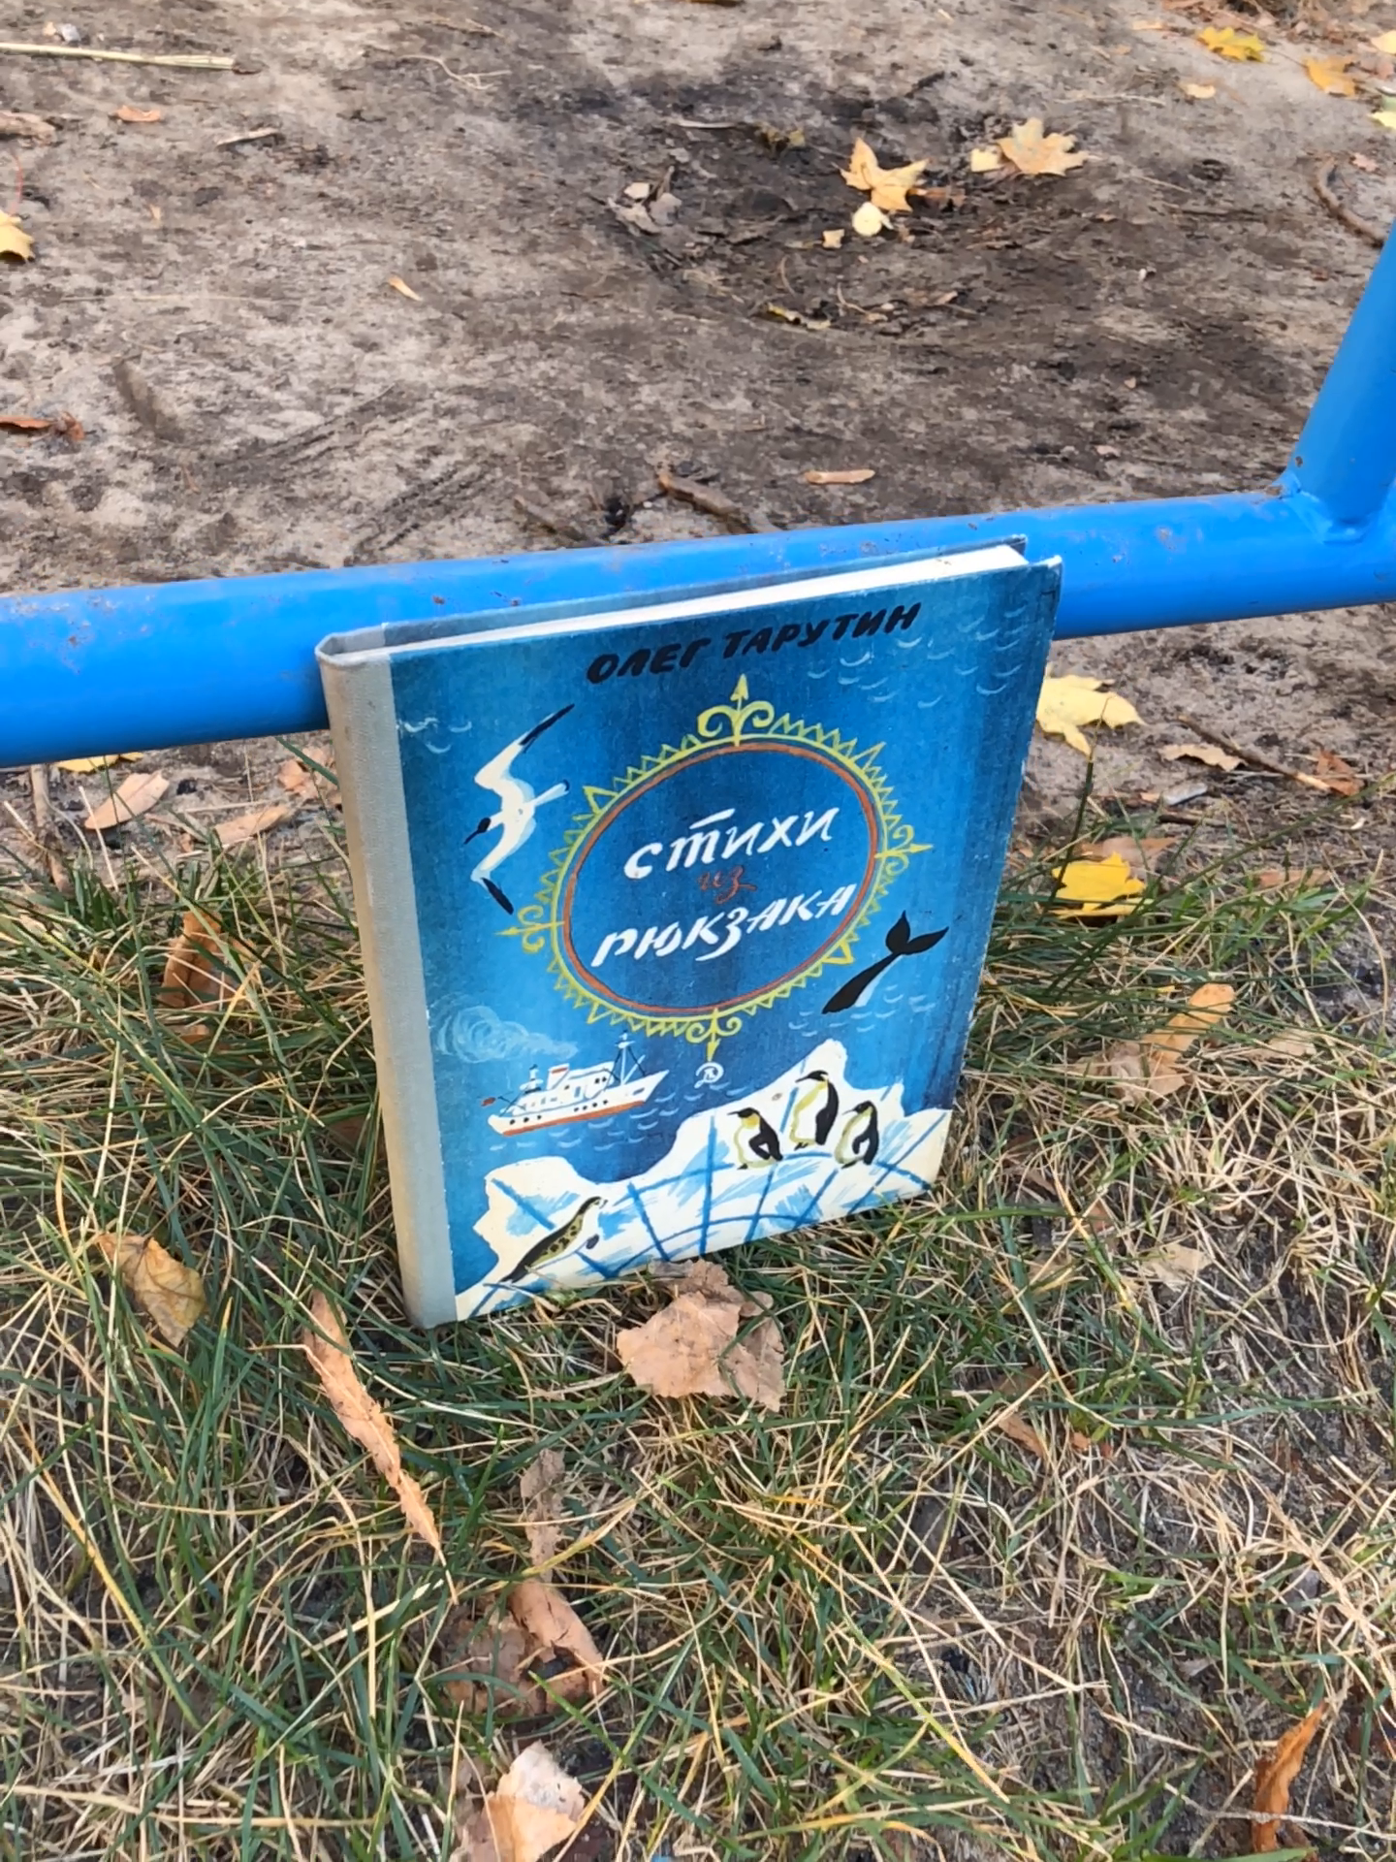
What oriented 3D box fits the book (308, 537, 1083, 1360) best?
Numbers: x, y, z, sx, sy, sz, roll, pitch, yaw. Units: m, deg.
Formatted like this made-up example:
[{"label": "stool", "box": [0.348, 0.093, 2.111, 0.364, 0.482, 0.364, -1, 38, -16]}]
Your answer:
[{"label": "book", "box": [-0.002, 0.010, 0.403, 0.179, 0.209, 0.023, -11, 38, -22]}]
